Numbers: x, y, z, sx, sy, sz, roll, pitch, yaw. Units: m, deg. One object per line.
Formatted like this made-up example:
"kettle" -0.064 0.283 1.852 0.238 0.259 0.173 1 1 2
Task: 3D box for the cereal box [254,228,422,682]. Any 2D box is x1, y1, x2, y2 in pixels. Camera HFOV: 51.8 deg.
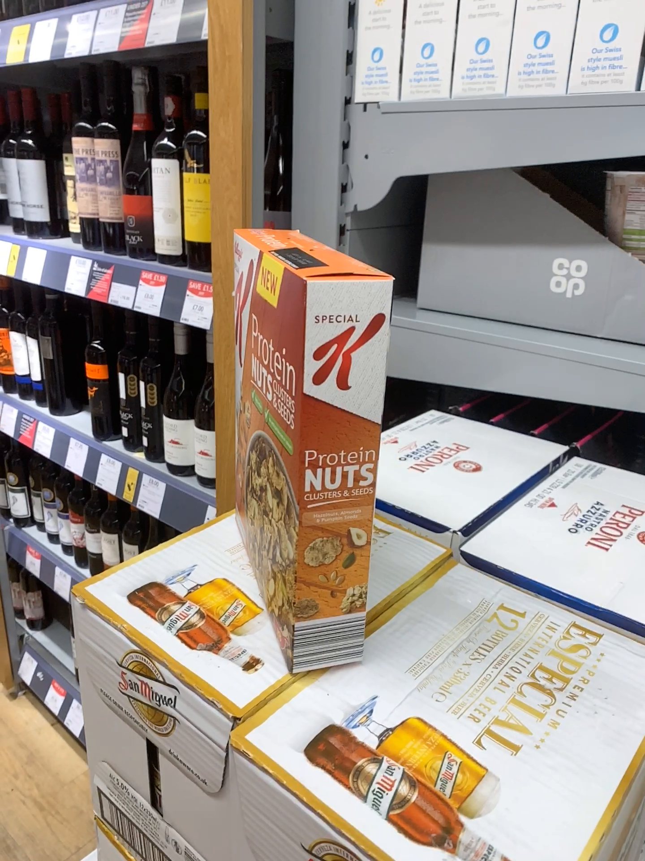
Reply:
"cereal box" -0.005 0.000 0.440 0.050 0.238 0.191 -3 22 -14
